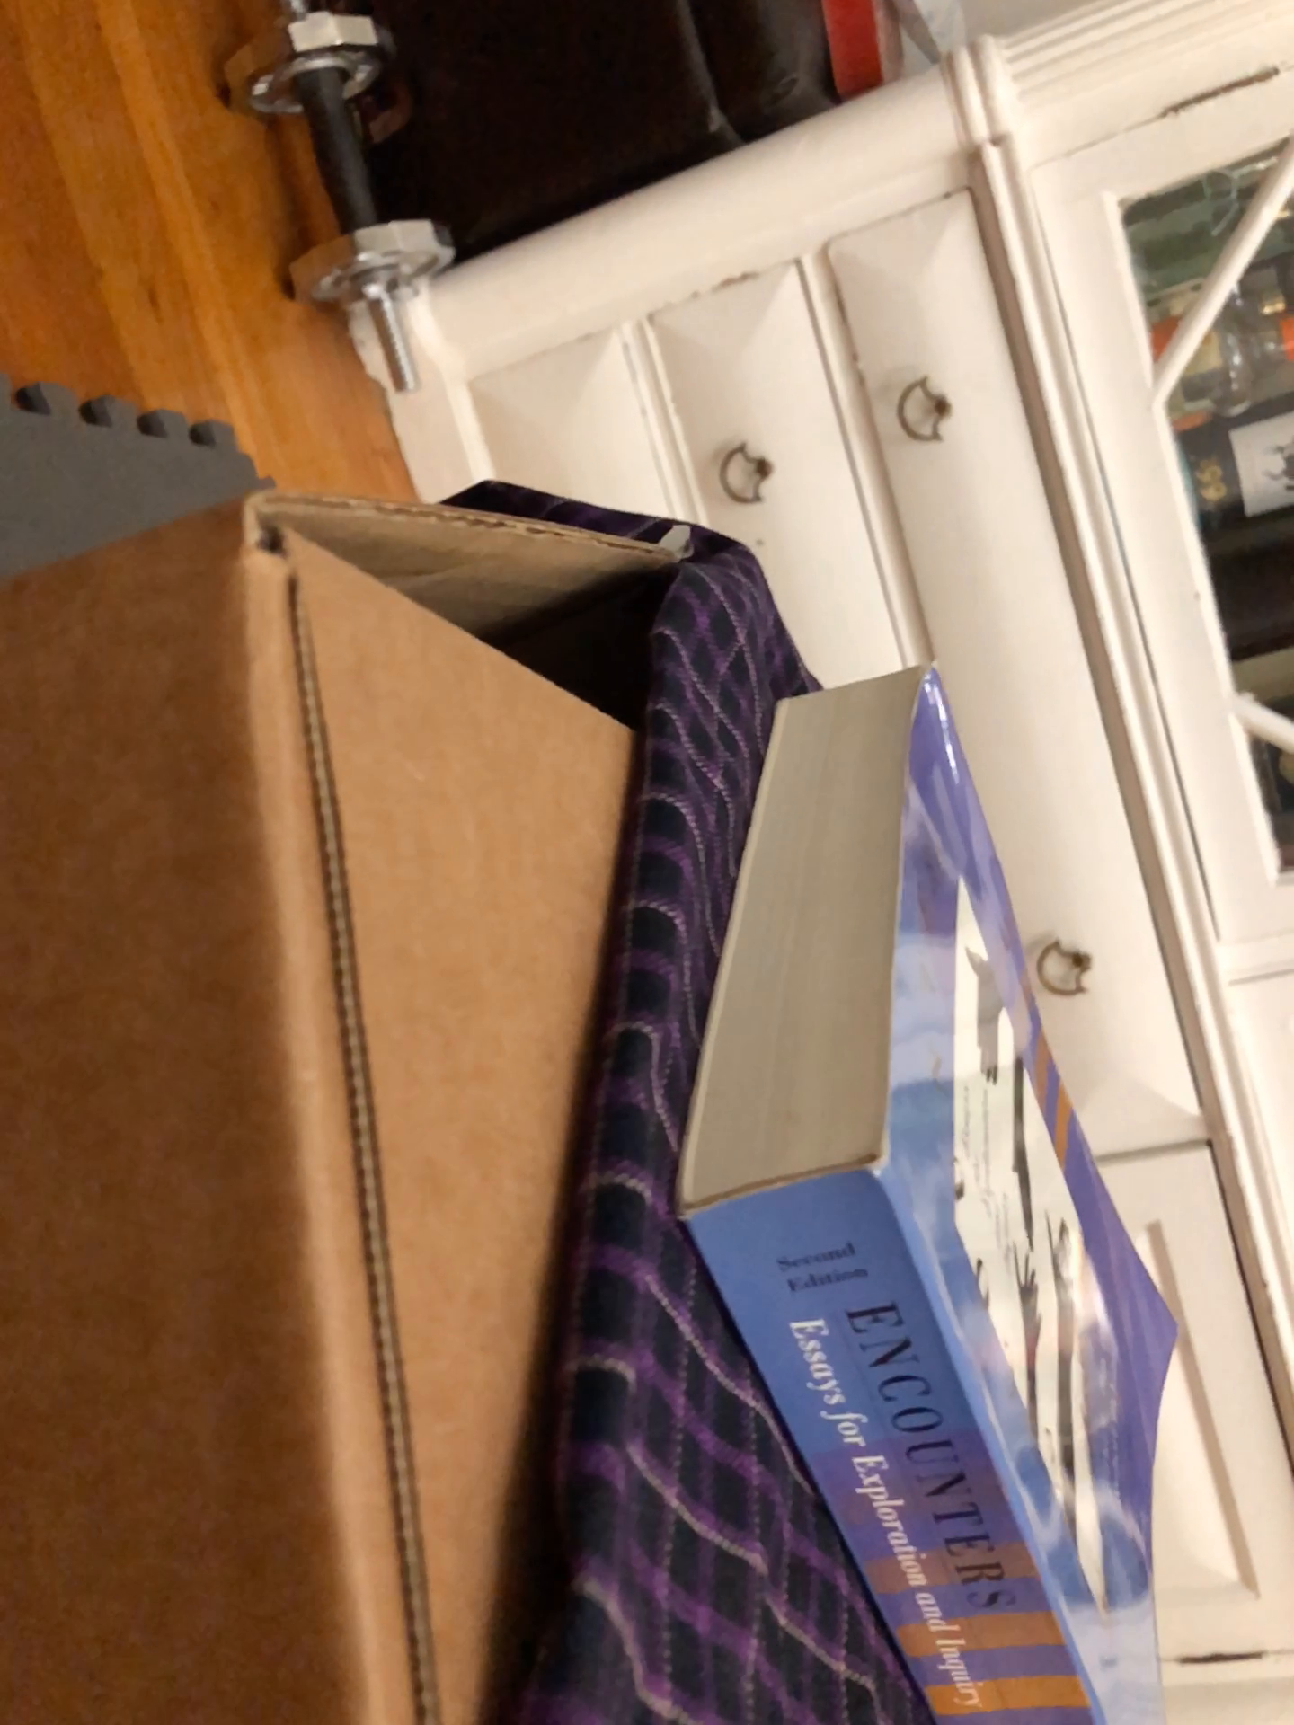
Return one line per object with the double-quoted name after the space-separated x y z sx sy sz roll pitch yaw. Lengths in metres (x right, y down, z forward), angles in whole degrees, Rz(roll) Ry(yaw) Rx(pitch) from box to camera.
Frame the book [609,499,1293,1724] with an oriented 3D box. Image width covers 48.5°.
0.079 0.086 0.303 0.201 0.040 0.260 -76 146 -52 "book"
